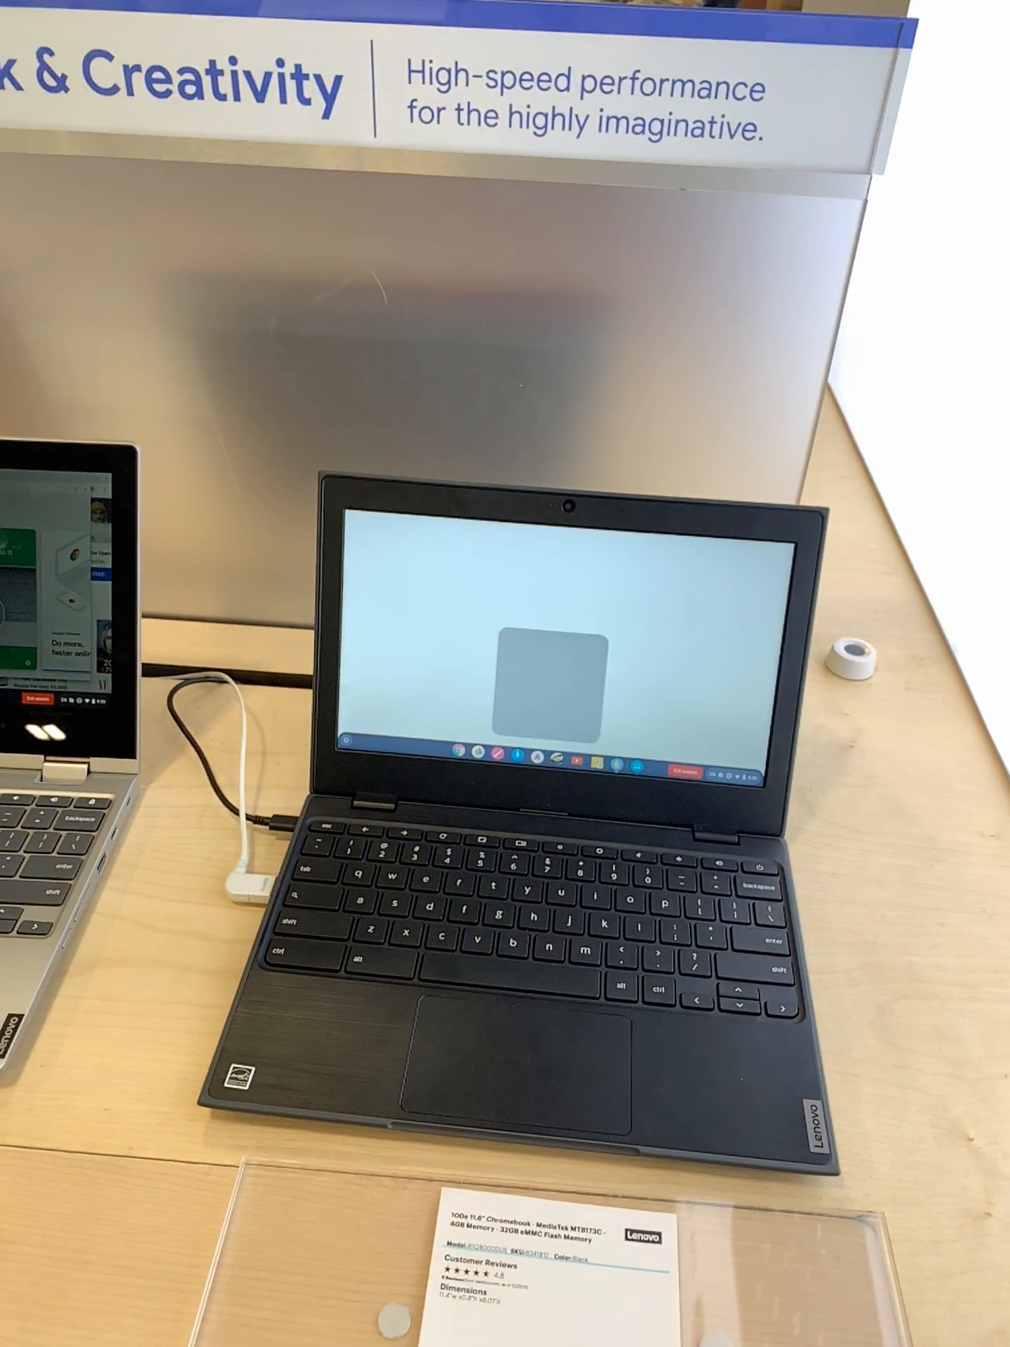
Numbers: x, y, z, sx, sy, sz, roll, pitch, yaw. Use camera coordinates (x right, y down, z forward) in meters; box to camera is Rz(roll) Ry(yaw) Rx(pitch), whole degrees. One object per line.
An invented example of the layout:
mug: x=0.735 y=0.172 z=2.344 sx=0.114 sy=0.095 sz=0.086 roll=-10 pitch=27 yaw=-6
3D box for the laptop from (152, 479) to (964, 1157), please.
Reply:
laptop: x=0.026 y=0.049 z=0.508 sx=0.275 sy=0.170 sz=0.267 roll=5 pitch=37 yaw=4
